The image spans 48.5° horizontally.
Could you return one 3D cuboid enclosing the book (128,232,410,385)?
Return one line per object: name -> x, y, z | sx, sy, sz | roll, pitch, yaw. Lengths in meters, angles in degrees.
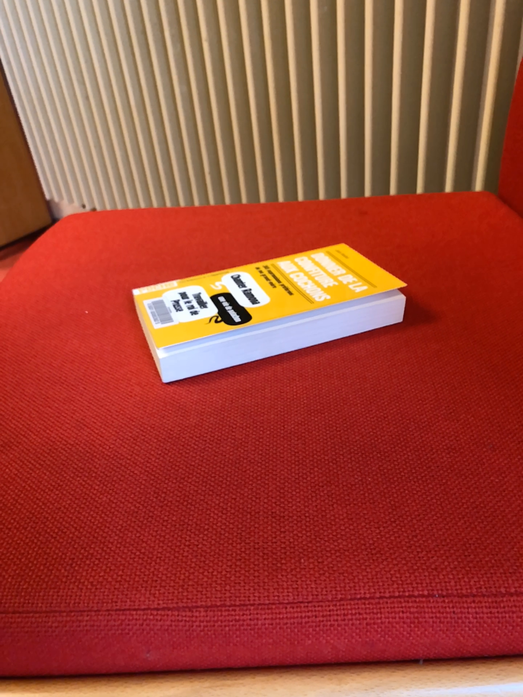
book -> 0.002, -0.037, 0.432 | 0.180, 0.030, 0.107 | -14, 36, -15
